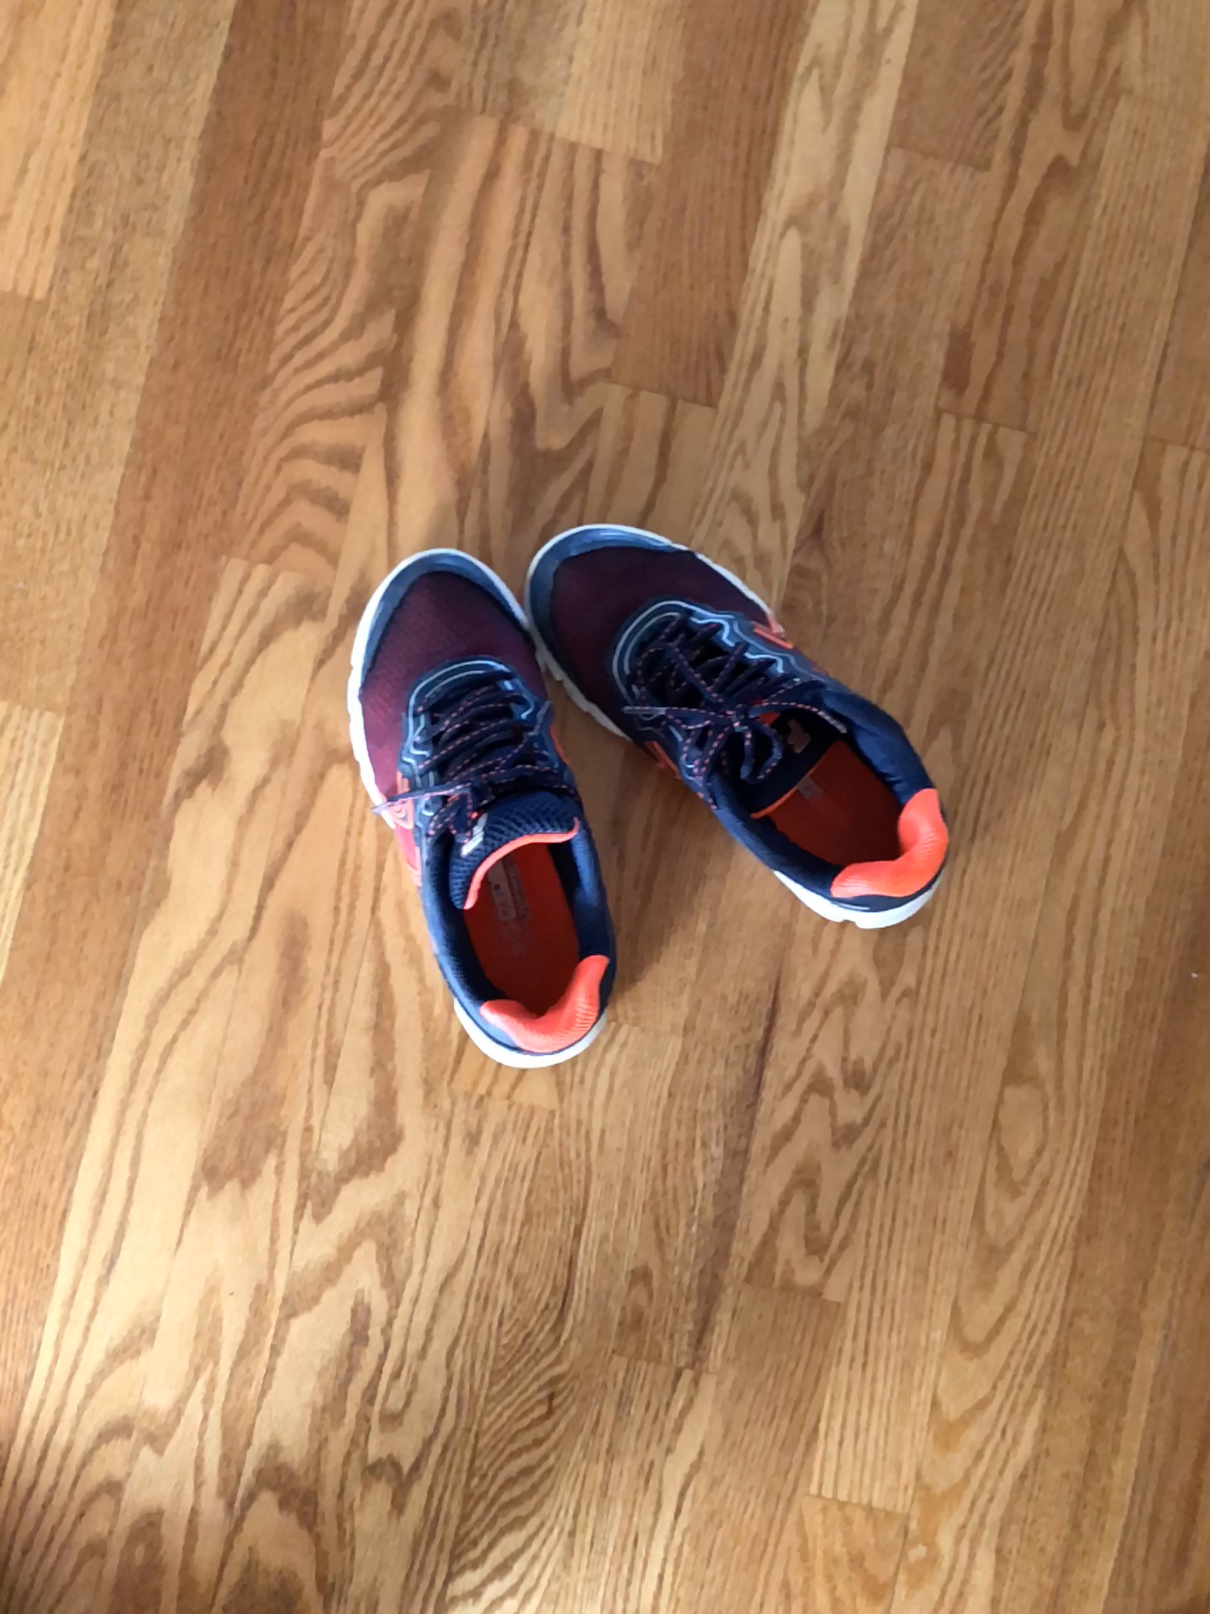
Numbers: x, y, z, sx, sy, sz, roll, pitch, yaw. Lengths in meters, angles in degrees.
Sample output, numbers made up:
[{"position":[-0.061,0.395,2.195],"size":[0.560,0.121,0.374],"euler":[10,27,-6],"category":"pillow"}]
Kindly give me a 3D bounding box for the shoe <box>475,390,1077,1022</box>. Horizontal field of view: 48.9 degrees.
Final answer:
[{"position":[0.074,-0.044,0.650],"size":[0.116,0.110,0.277],"euler":[-42,91,-4],"category":"shoe"}]

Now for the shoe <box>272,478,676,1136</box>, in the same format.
[{"position":[-0.061,0.000,0.638],"size":[0.108,0.110,0.270],"euler":[-16,89,-5],"category":"shoe"}]
